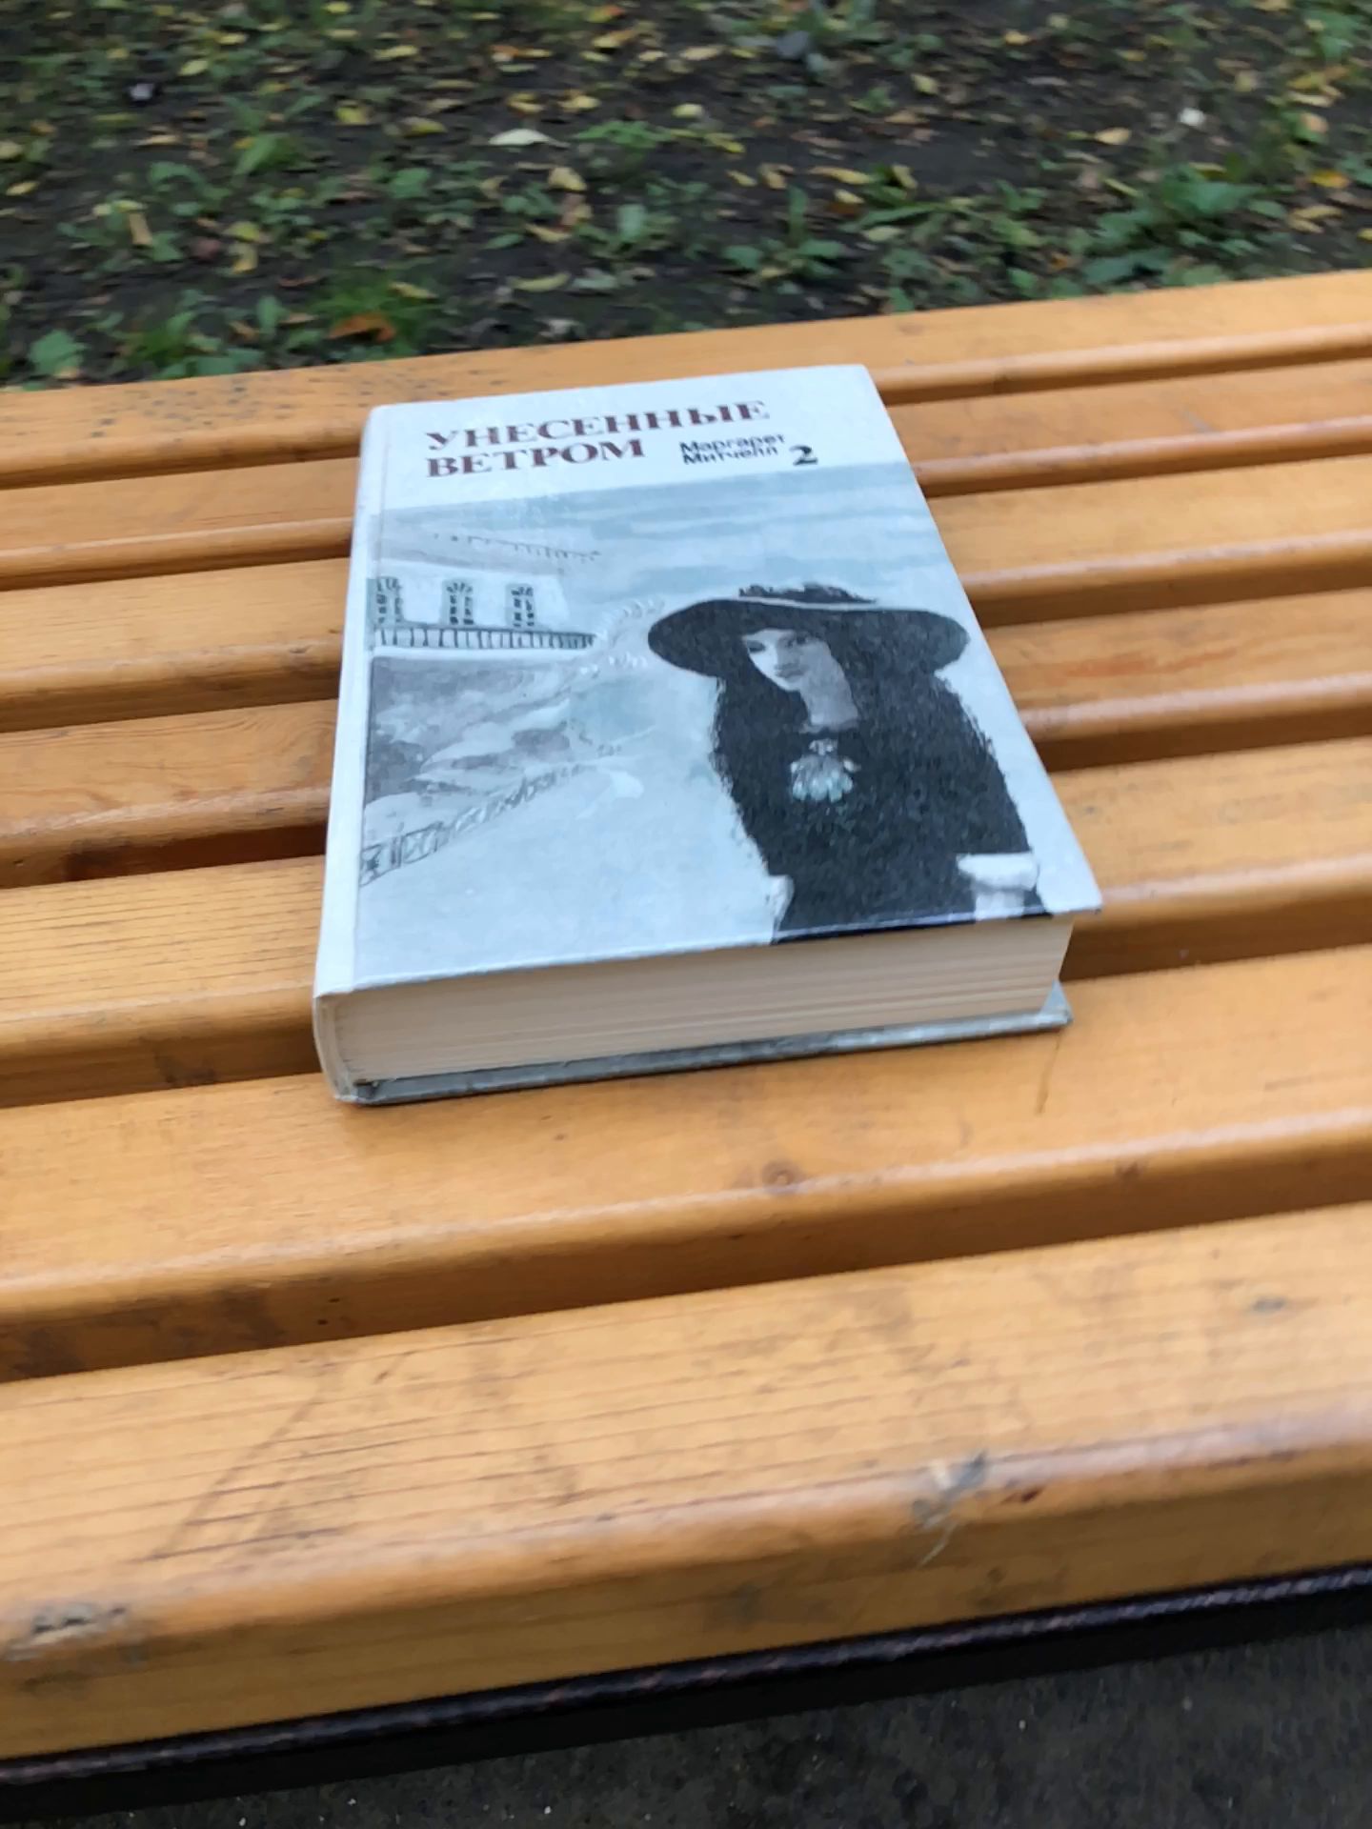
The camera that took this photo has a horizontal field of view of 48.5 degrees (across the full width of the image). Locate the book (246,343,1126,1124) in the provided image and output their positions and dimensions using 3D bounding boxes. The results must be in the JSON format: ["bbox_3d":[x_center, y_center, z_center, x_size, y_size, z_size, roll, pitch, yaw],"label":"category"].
[{"bbox_3d":[-0.010,-0.056,0.325,0.140,0.030,0.211,-6,45,-3],"label":"book"}]
